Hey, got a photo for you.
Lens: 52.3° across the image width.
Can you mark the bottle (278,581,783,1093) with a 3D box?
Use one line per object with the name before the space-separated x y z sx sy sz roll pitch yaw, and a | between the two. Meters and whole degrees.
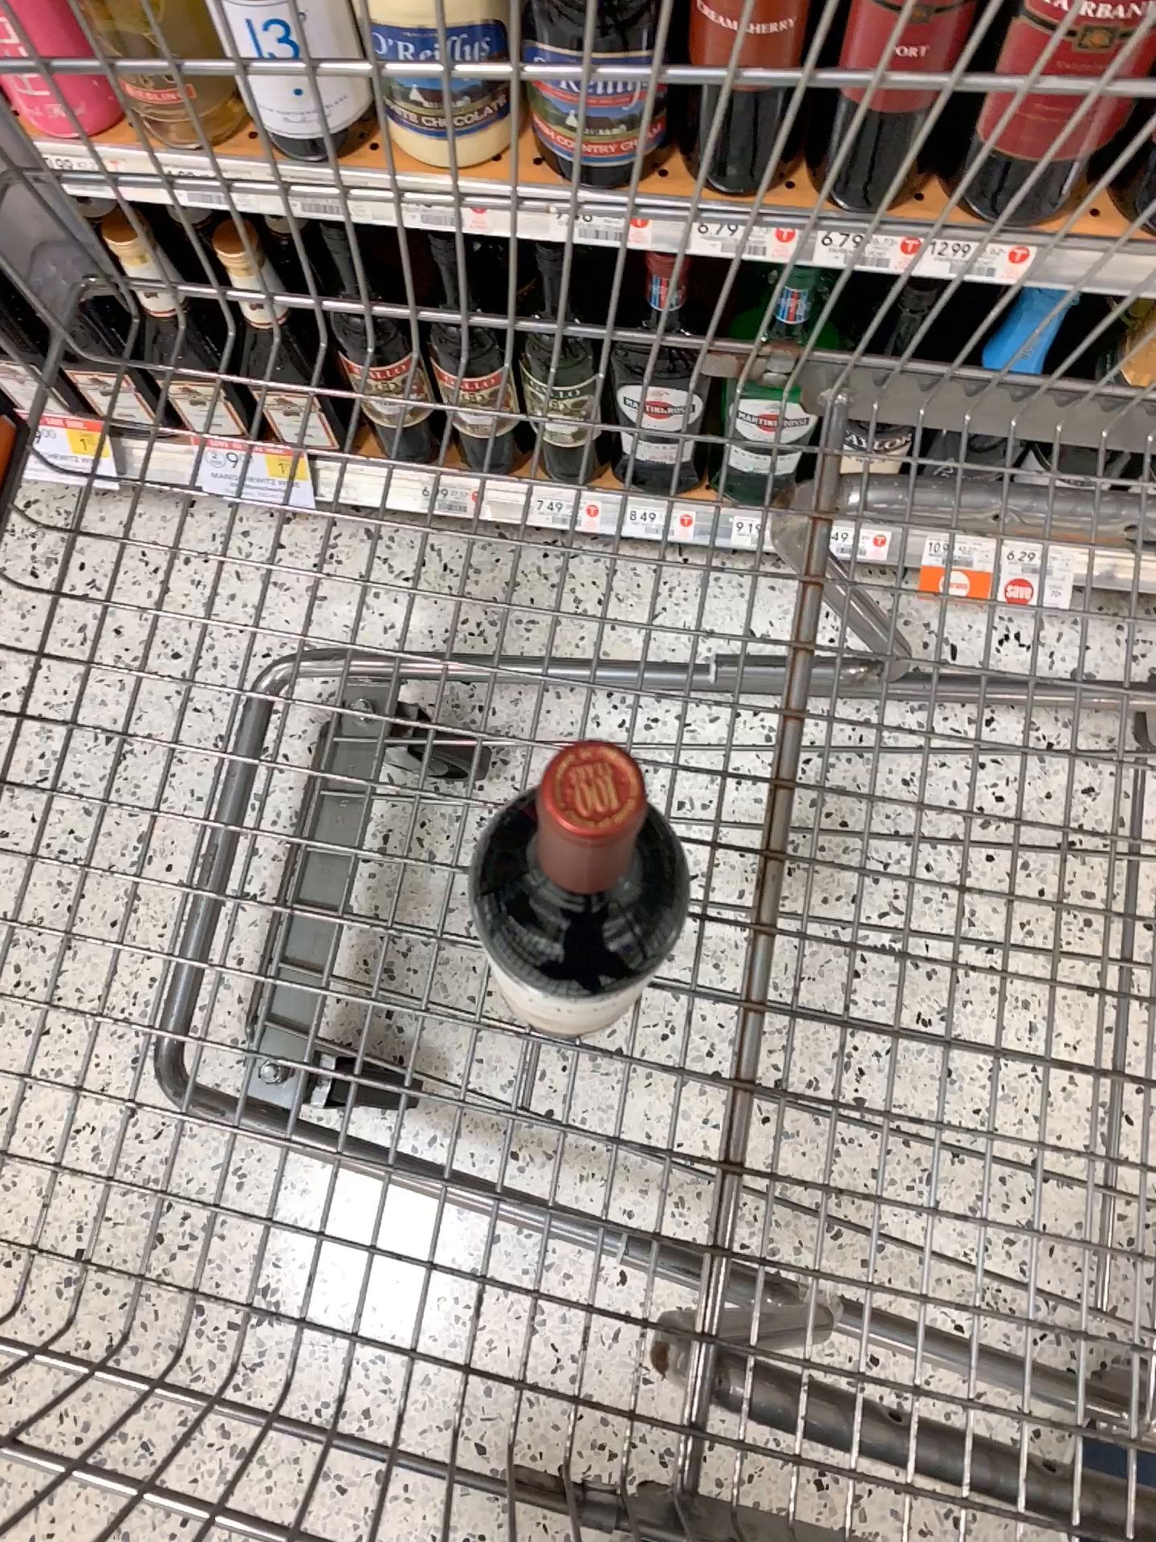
bottle | -0.009 0.051 0.420 0.090 0.299 0.080 30 76 9
